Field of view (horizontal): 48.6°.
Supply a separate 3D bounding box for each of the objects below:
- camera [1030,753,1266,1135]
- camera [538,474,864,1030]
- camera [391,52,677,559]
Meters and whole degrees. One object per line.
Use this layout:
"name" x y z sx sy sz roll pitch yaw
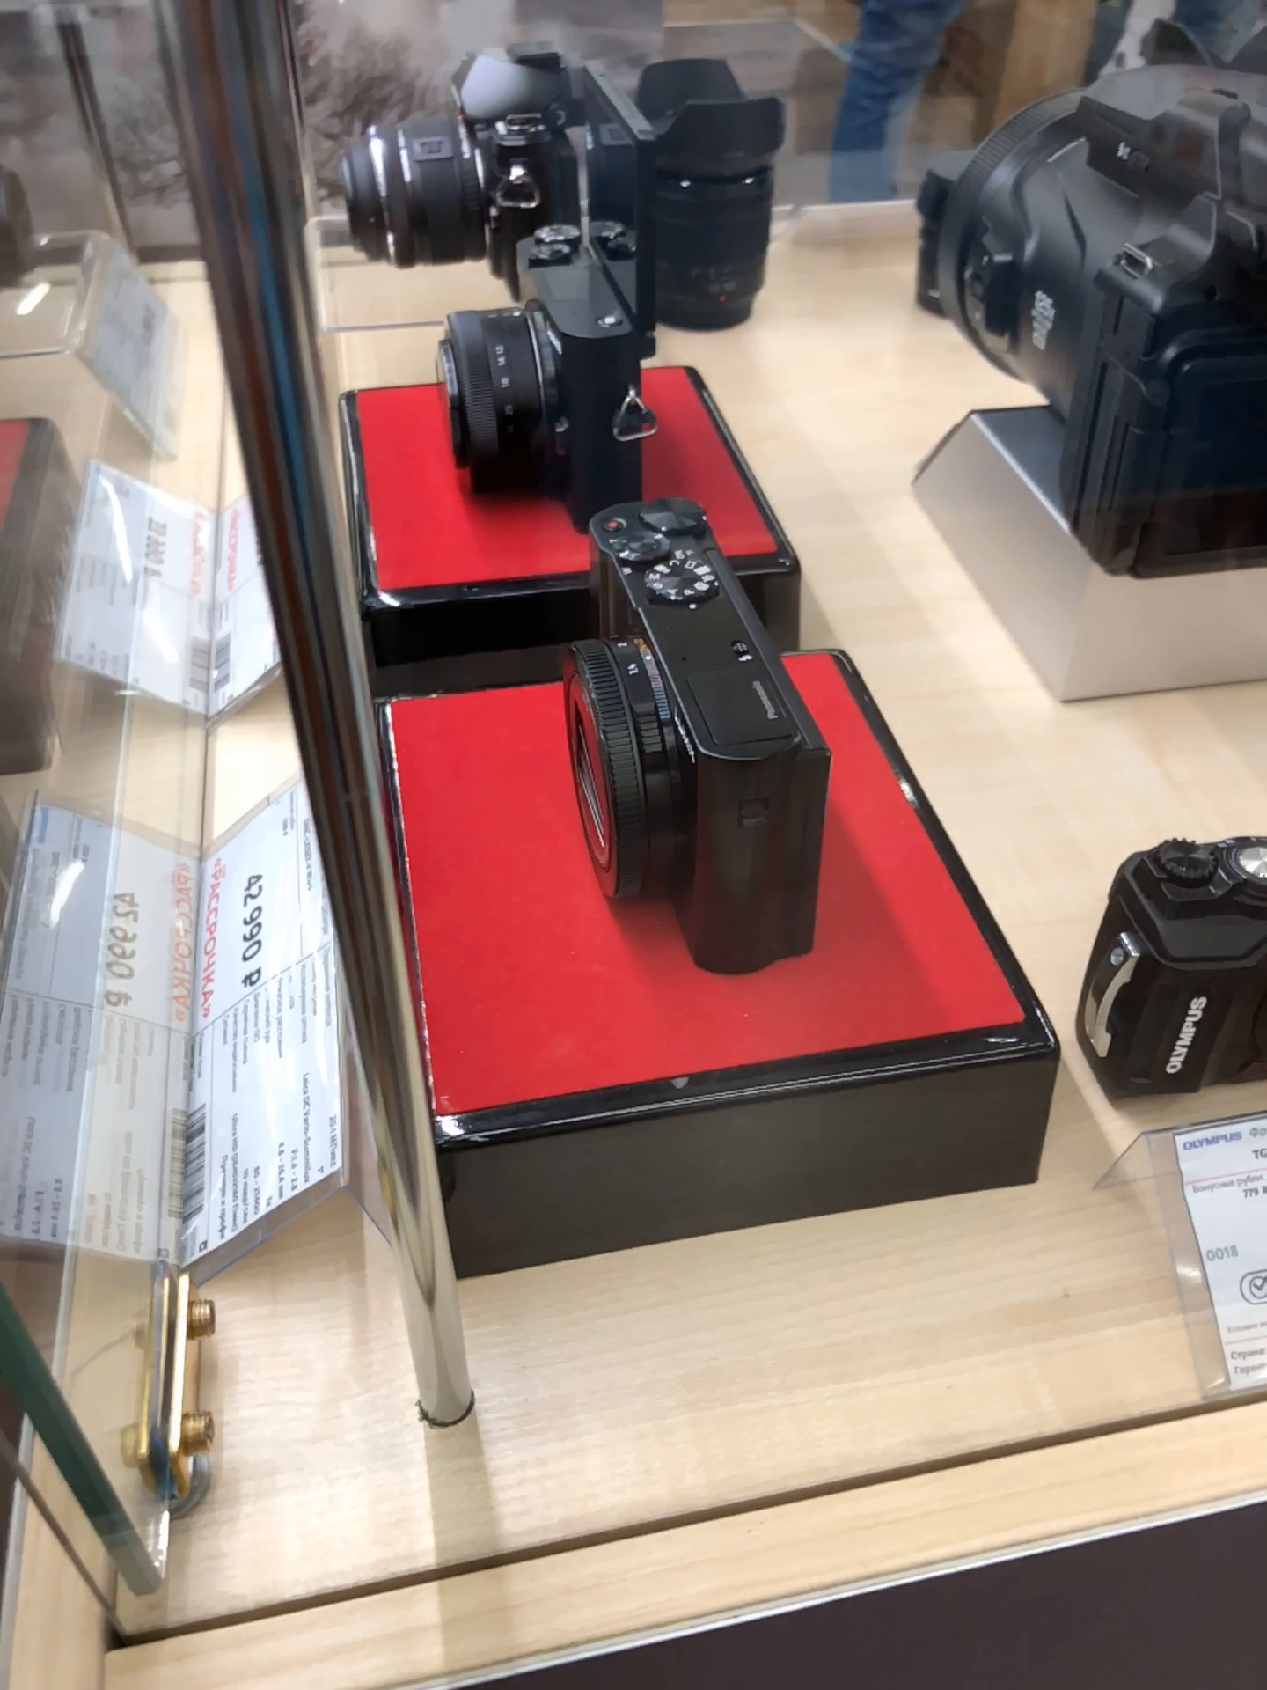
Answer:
"camera" 0.156 0.023 0.322 0.110 0.072 0.034 -6 41 -7
"camera" 0.010 -0.025 0.320 0.040 0.070 0.111 -9 42 -10
"camera" -0.032 -0.170 0.438 0.066 0.112 0.111 -8 42 -9
